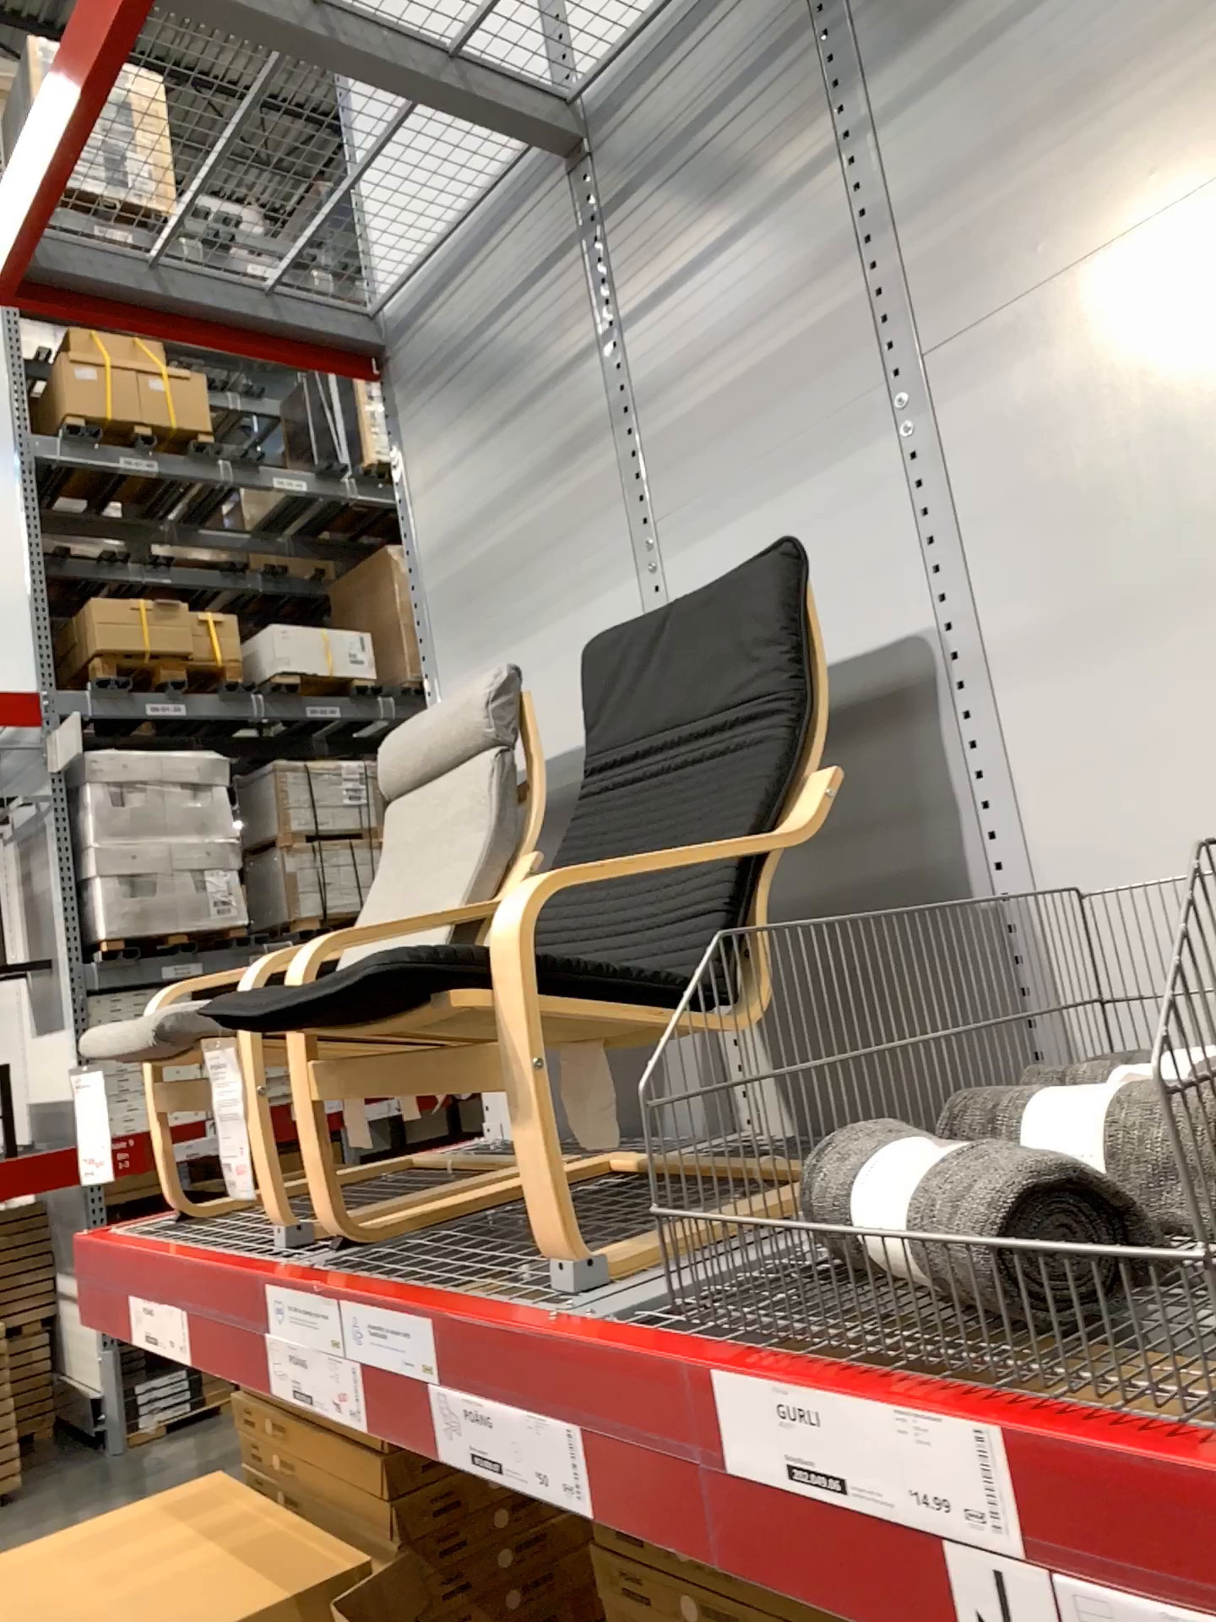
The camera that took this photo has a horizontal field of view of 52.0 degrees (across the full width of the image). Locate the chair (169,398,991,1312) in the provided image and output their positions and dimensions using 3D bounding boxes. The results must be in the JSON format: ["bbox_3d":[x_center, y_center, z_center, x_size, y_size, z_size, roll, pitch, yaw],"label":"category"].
[{"bbox_3d":[-0.070,0.079,1.893,0.838,1.012,0.720,-2,-11,-40],"label":"chair"}]
